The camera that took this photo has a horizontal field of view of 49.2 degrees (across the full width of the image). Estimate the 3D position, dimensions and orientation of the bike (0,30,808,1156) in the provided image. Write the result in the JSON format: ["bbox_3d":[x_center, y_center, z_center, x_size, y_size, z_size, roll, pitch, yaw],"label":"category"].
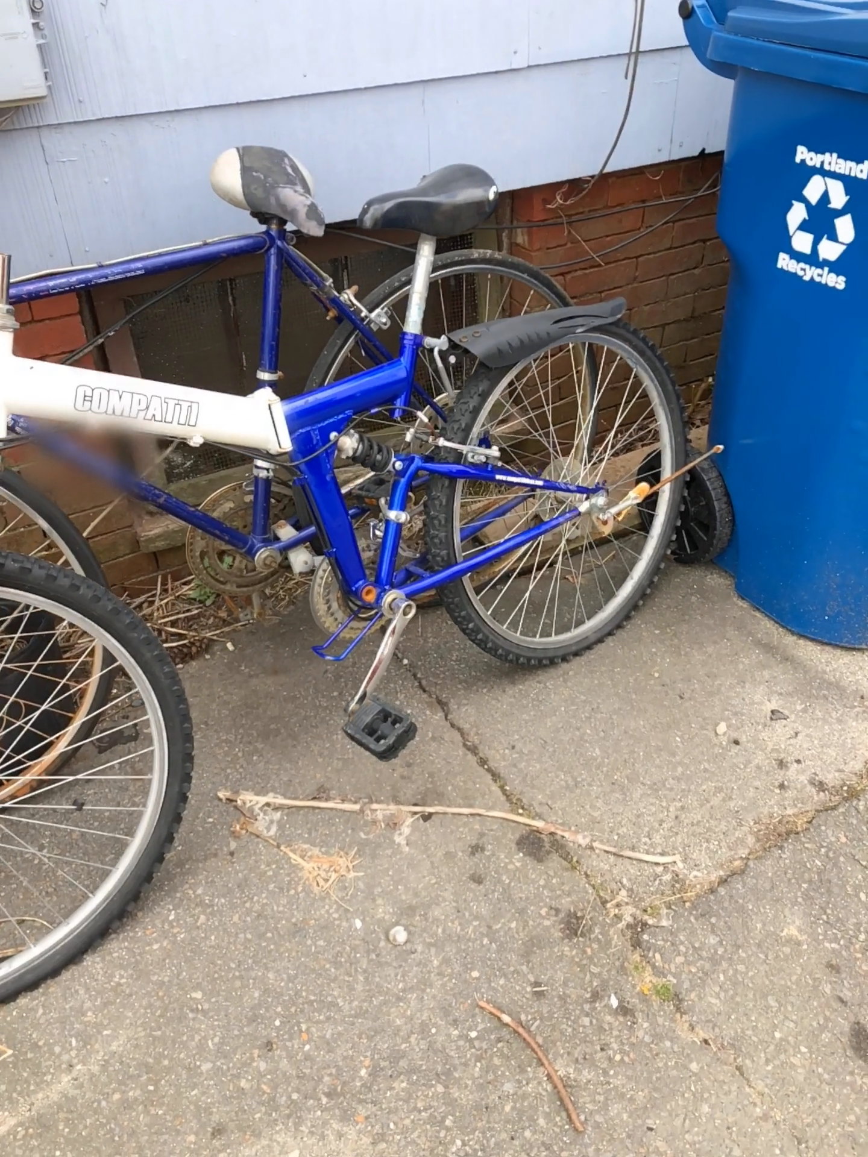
[{"bbox_3d":[-0.291,-0.107,1.463,1.732,0.979,0.564,-29,44,-27],"label":"bike"}]
